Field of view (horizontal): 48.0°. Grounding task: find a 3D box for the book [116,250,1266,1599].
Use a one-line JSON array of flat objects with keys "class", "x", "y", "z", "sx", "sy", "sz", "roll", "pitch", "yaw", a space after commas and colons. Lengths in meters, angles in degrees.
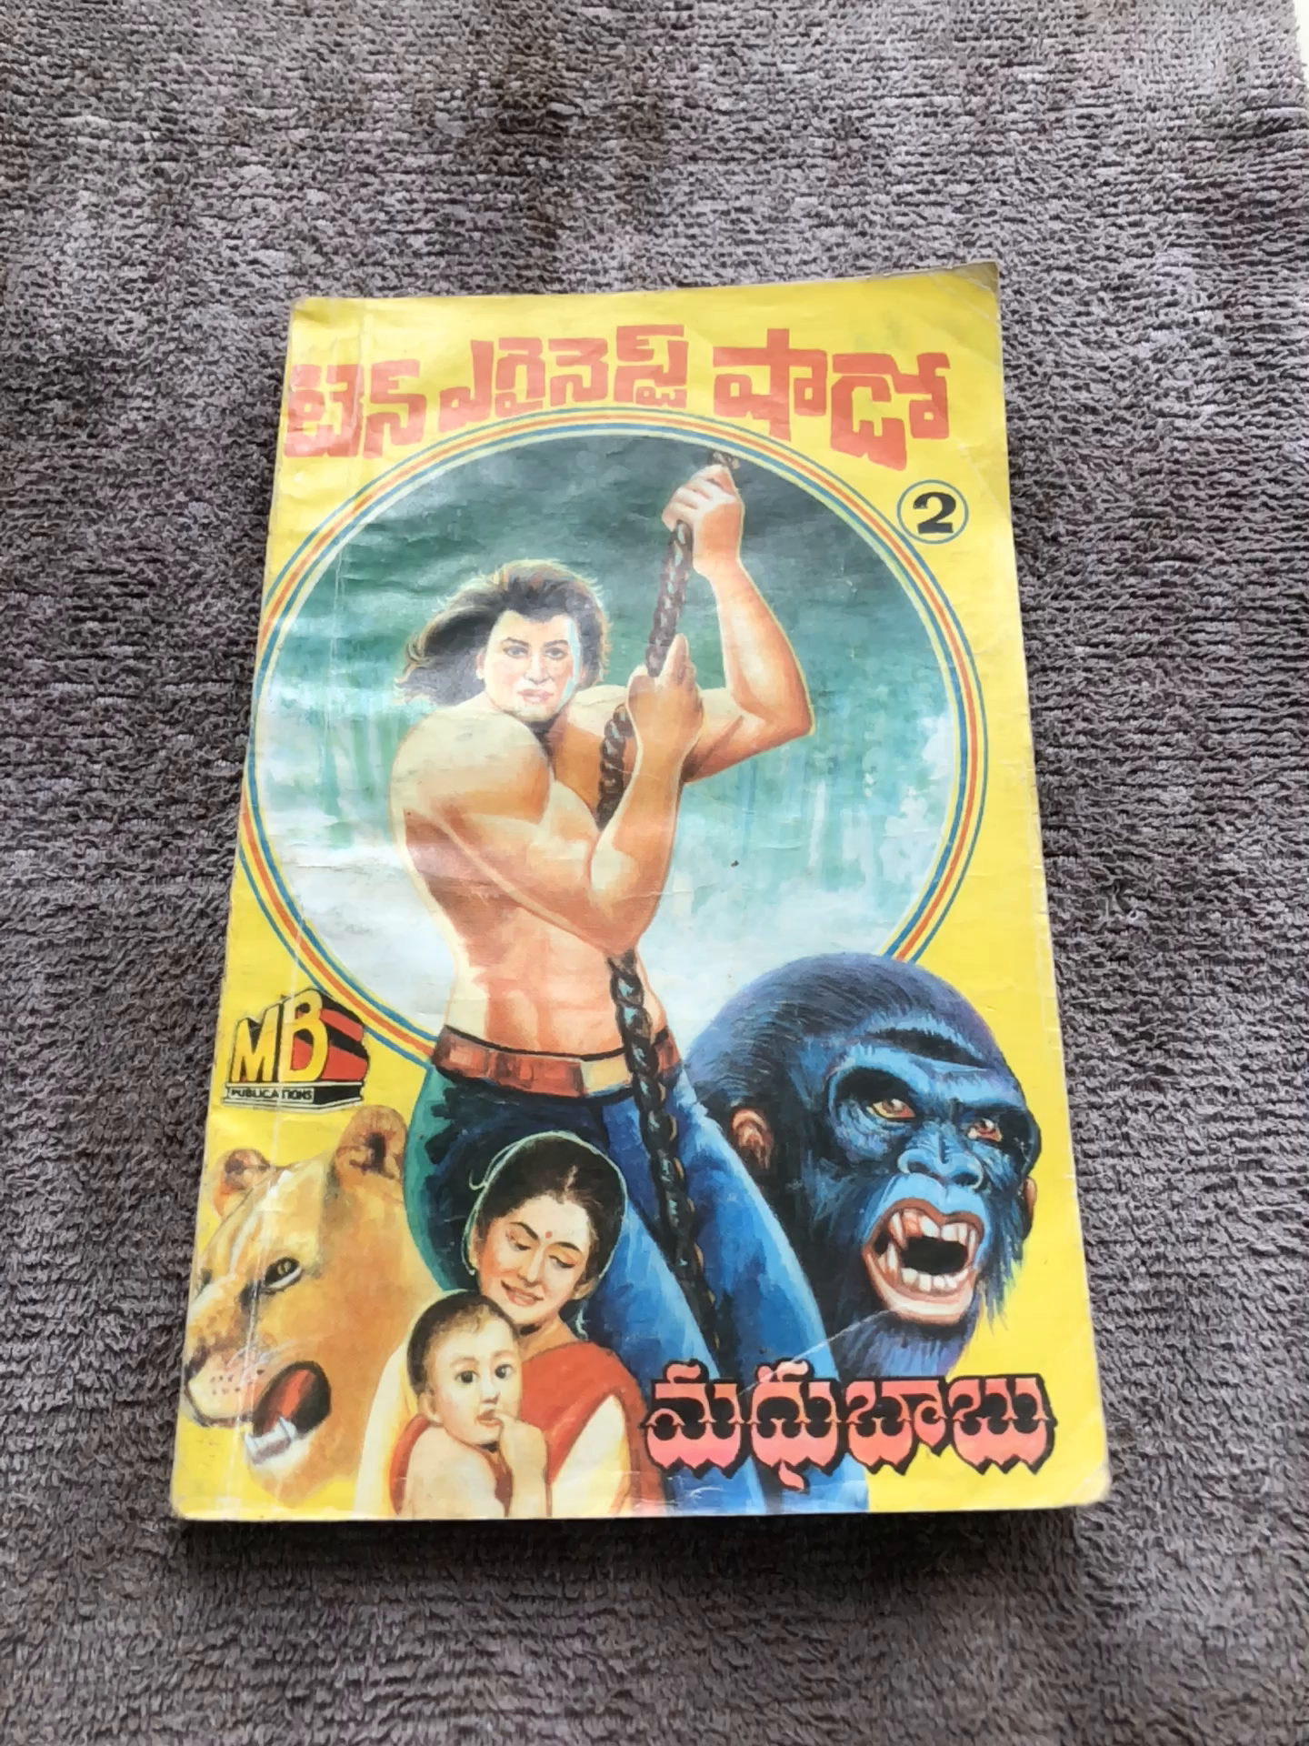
[{"class": "book", "x": 0.003, "y": -0.003, "z": 0.178, "sx": 0.110, "sy": 0.020, "sz": 0.160, "roll": 0, "pitch": 70, "yaw": -2}]
